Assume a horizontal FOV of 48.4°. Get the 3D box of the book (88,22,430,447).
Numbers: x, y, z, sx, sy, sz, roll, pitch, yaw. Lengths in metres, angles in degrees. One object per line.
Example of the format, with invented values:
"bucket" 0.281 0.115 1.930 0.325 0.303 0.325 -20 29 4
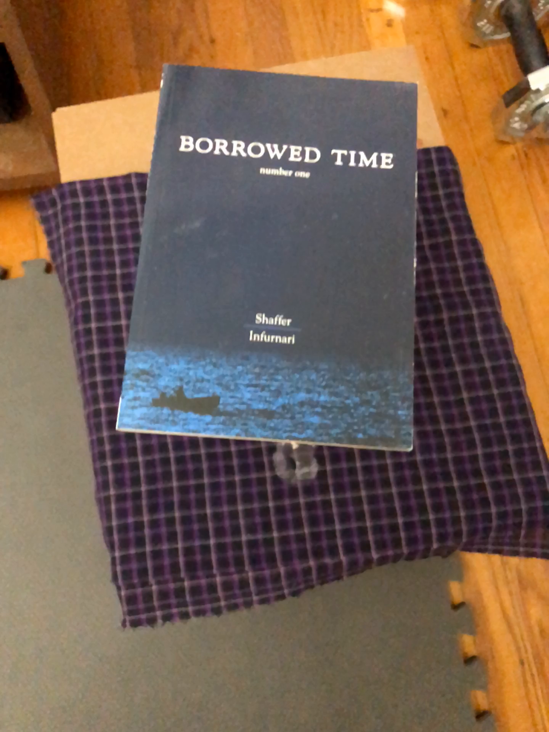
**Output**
"book" 0.001 -0.078 0.322 0.160 0.010 0.230 4 74 -1
